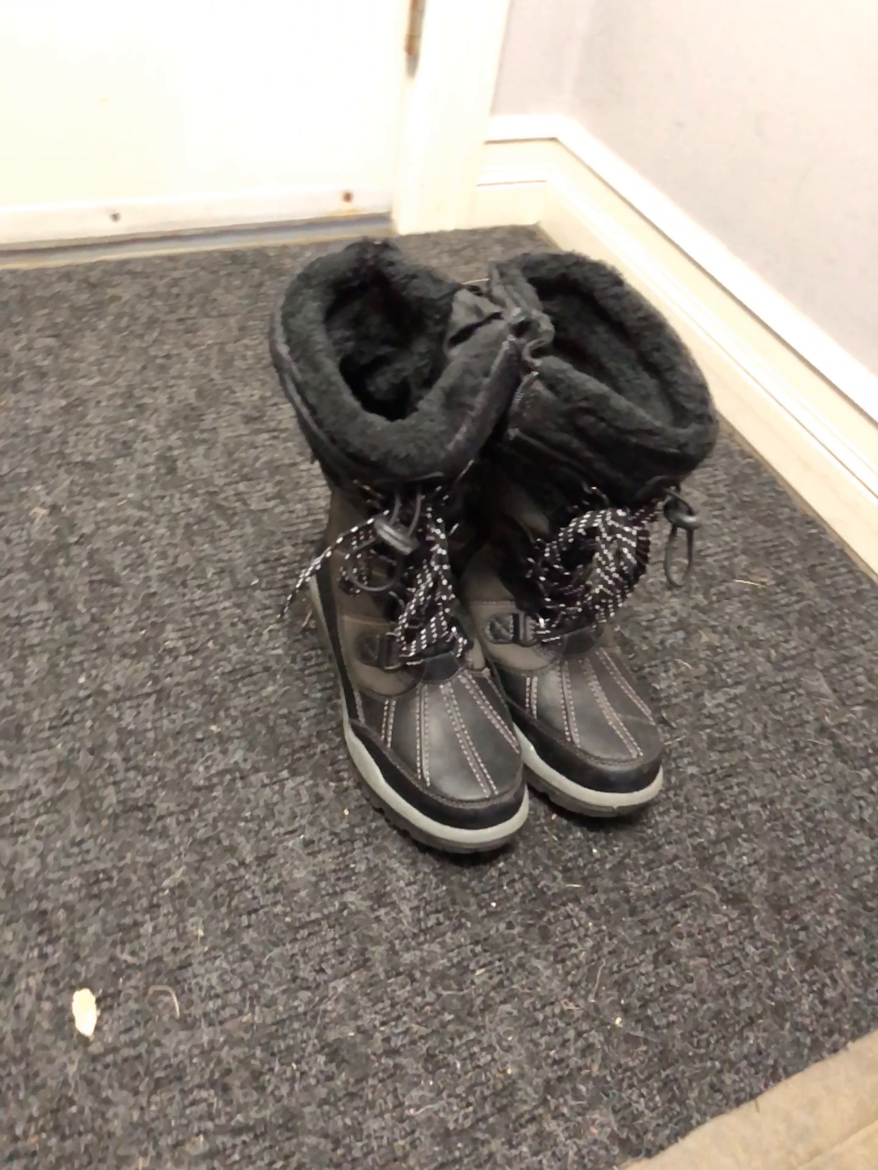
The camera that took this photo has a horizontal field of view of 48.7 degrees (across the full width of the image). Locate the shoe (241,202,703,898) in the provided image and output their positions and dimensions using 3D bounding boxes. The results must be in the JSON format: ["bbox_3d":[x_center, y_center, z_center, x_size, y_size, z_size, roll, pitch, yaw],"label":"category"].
[{"bbox_3d":[-0.016,-0.020,0.543,0.110,0.269,0.261,-14,51,-23],"label":"shoe"}]

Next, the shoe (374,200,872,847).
[{"bbox_3d":[0.072,-0.036,0.581,0.100,0.269,0.261,-16,51,-24],"label":"shoe"}]
